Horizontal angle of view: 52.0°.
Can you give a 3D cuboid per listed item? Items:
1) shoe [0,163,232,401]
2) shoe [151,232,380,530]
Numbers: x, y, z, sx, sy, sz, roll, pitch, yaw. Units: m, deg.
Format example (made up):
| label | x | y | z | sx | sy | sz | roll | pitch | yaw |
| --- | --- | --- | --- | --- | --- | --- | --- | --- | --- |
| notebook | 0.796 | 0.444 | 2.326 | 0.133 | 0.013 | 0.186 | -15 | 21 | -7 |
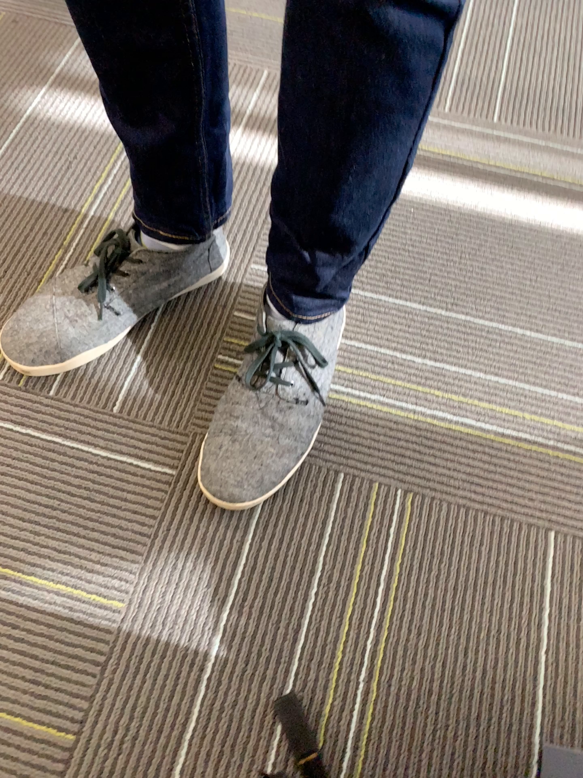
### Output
| label | x | y | z | sx | sy | sz | roll | pitch | yaw |
| --- | --- | --- | --- | --- | --- | --- | --- | --- | --- |
| shoe | -0.232 | -0.135 | 0.716 | 0.299 | 0.087 | 0.134 | -36 | 70 | -20 |
| shoe | -0.019 | -0.018 | 0.667 | 0.134 | 0.087 | 0.301 | 21 | 64 | 7 |
